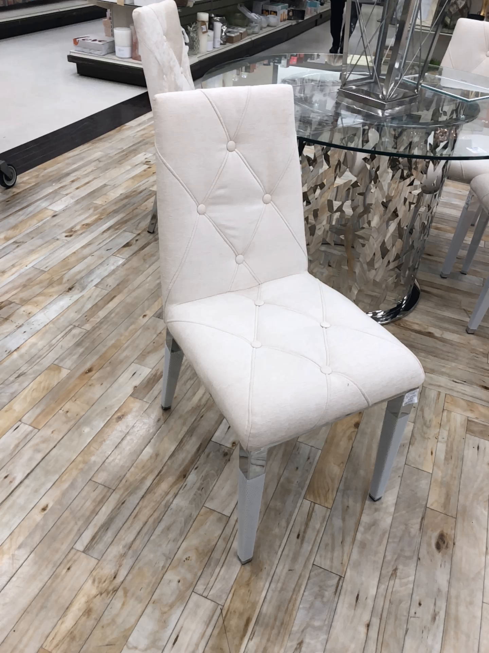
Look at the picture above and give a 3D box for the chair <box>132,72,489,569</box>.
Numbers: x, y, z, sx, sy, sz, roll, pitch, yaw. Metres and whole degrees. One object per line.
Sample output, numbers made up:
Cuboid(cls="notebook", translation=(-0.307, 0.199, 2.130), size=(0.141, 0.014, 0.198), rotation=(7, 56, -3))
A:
Cuboid(cls="chair", translation=(0.086, -0.024, 1.229), size=(0.470, 0.886, 0.572), rotation=(-14, 41, -23))
